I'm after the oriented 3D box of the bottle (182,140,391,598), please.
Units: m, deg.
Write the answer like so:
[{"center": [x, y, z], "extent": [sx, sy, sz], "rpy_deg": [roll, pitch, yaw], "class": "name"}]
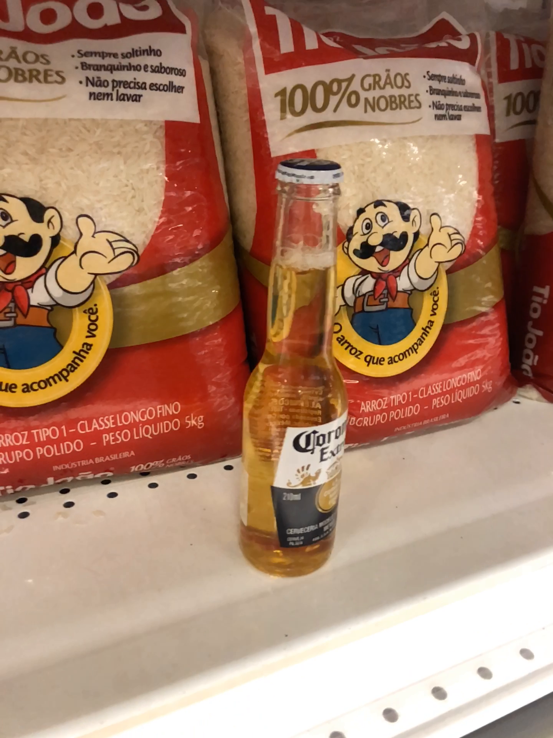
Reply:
[{"center": [0.000, 0.002, 0.290], "extent": [0.060, 0.198, 0.060], "rpy_deg": [3, 26, -1], "class": "bottle"}]
